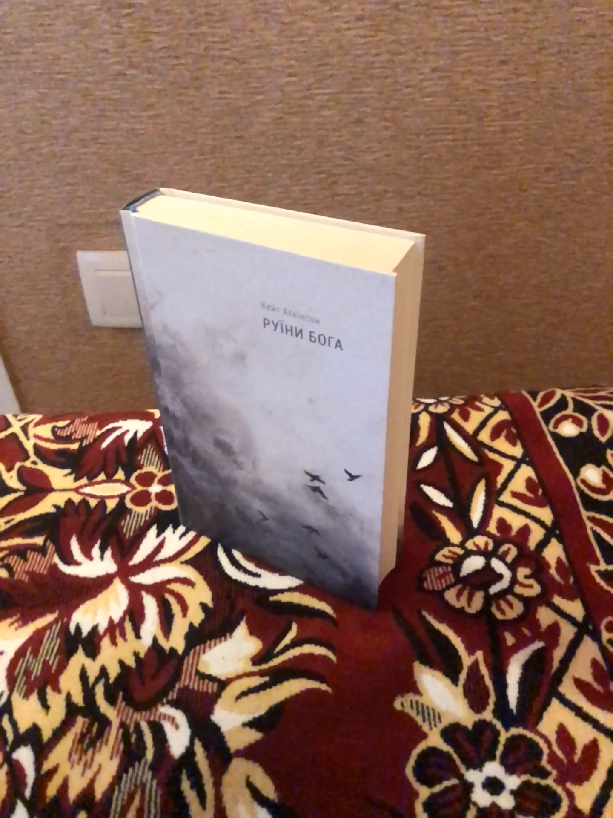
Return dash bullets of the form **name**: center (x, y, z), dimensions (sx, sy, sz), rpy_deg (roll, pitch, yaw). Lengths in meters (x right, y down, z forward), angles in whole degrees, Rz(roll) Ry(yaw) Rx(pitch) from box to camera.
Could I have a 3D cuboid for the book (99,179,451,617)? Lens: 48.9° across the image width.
- **book**: center (-0.014, 0.000, 0.347), dimensions (0.145, 0.200, 0.048), rpy_deg (18, 43, 23)
